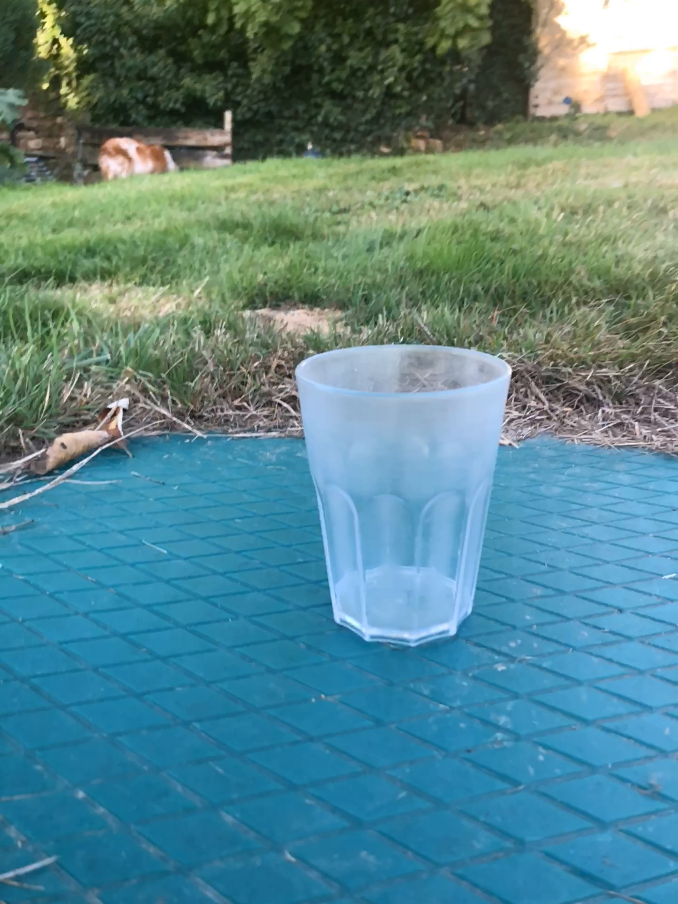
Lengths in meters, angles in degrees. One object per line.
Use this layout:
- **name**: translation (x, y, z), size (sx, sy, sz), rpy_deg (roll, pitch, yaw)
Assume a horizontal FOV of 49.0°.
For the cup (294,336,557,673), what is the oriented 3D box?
- **cup**: translation (0.030, 0.016, 0.323), size (0.087, 0.113, 0.092), rpy_deg (-1, 18, 0)
